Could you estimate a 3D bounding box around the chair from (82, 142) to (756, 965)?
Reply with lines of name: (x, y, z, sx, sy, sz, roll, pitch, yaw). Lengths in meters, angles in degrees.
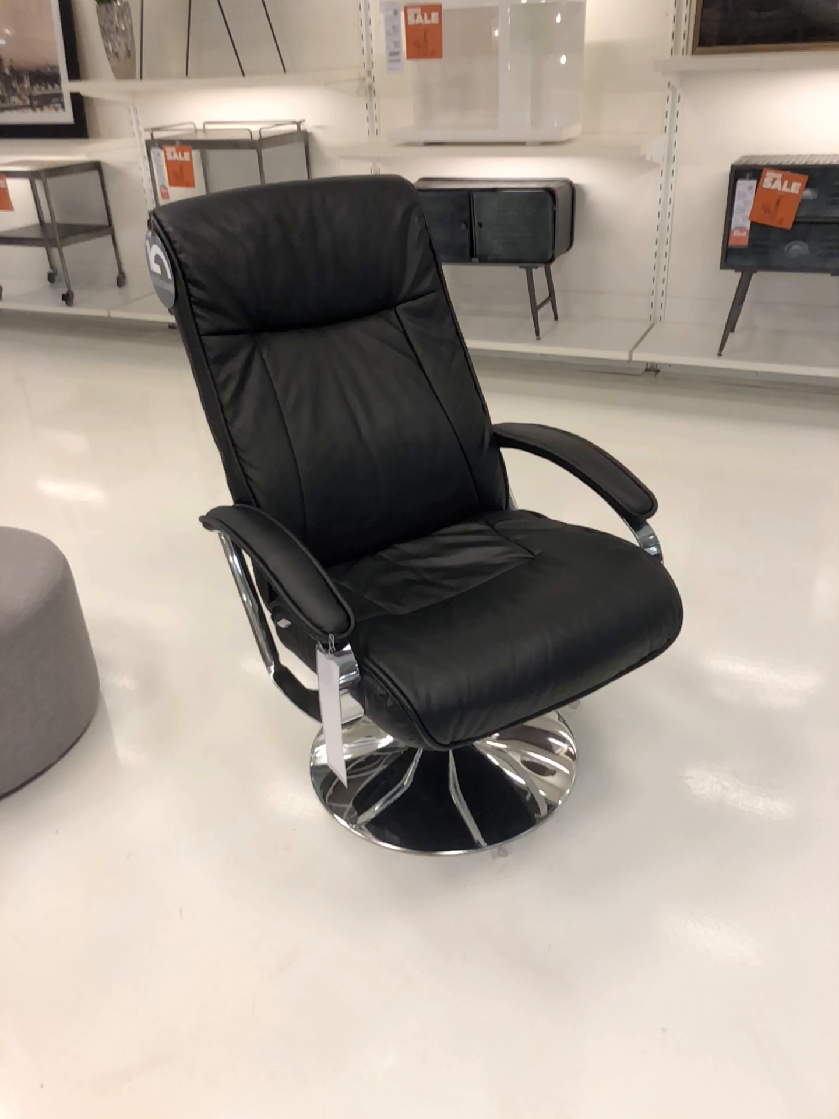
chair: (0.002, -0.092, 1.675, 0.752, 1.132, 0.723, -22, 34, -31)
